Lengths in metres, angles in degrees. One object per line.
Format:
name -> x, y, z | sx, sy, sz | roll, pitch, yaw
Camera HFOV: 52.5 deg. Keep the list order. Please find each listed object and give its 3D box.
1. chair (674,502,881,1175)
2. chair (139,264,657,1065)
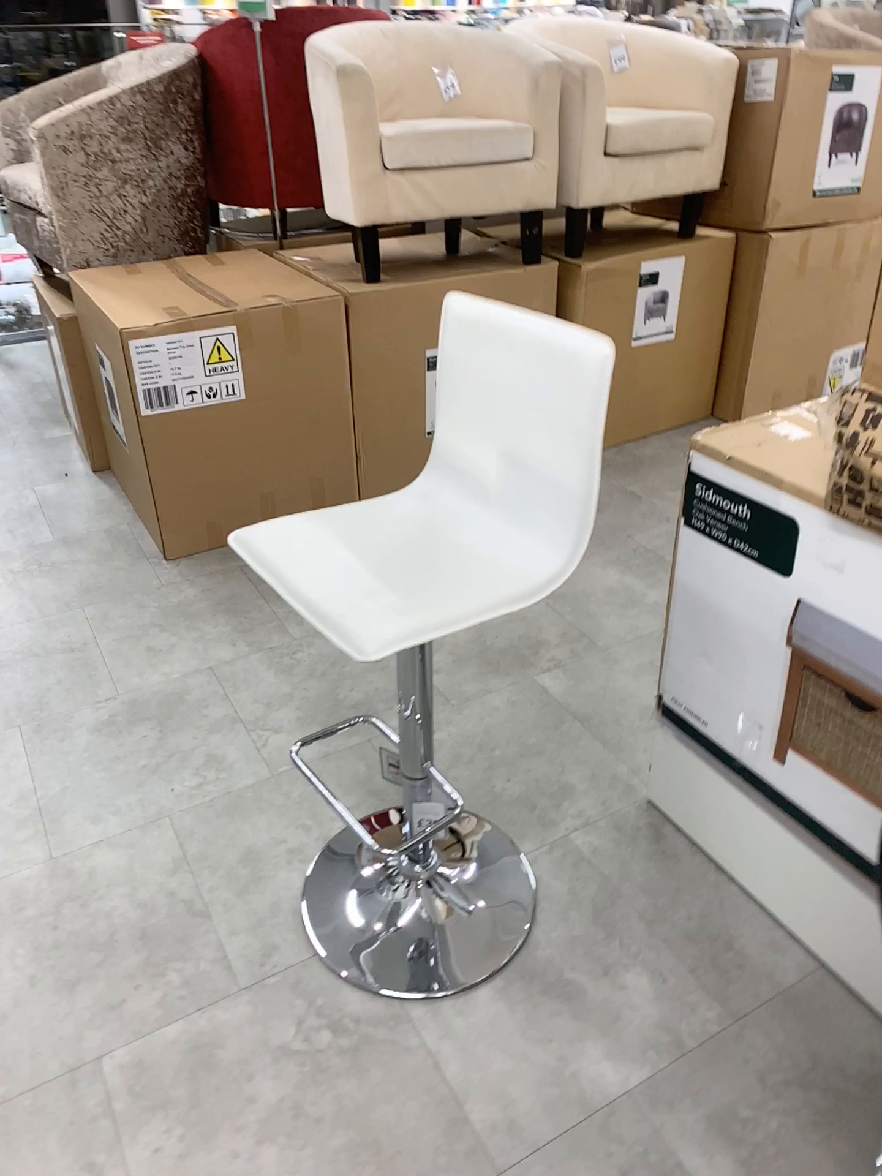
chair -> 0.582, 0.481, 0.753 | 0.443, 0.910, 0.472 | -18, 35, -26
chair -> -0.062, 0.105, 1.324 | 0.443, 0.989, 0.462 | -20, 36, -29
